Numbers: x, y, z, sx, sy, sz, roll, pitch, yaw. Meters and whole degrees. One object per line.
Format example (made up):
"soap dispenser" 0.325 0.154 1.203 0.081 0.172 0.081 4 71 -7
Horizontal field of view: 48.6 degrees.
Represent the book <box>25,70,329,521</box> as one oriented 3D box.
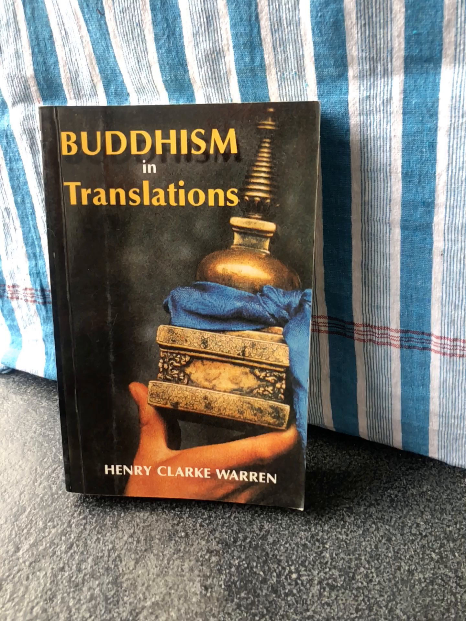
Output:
"book" -0.026 -0.006 0.272 0.140 0.210 0.050 2 8 7
